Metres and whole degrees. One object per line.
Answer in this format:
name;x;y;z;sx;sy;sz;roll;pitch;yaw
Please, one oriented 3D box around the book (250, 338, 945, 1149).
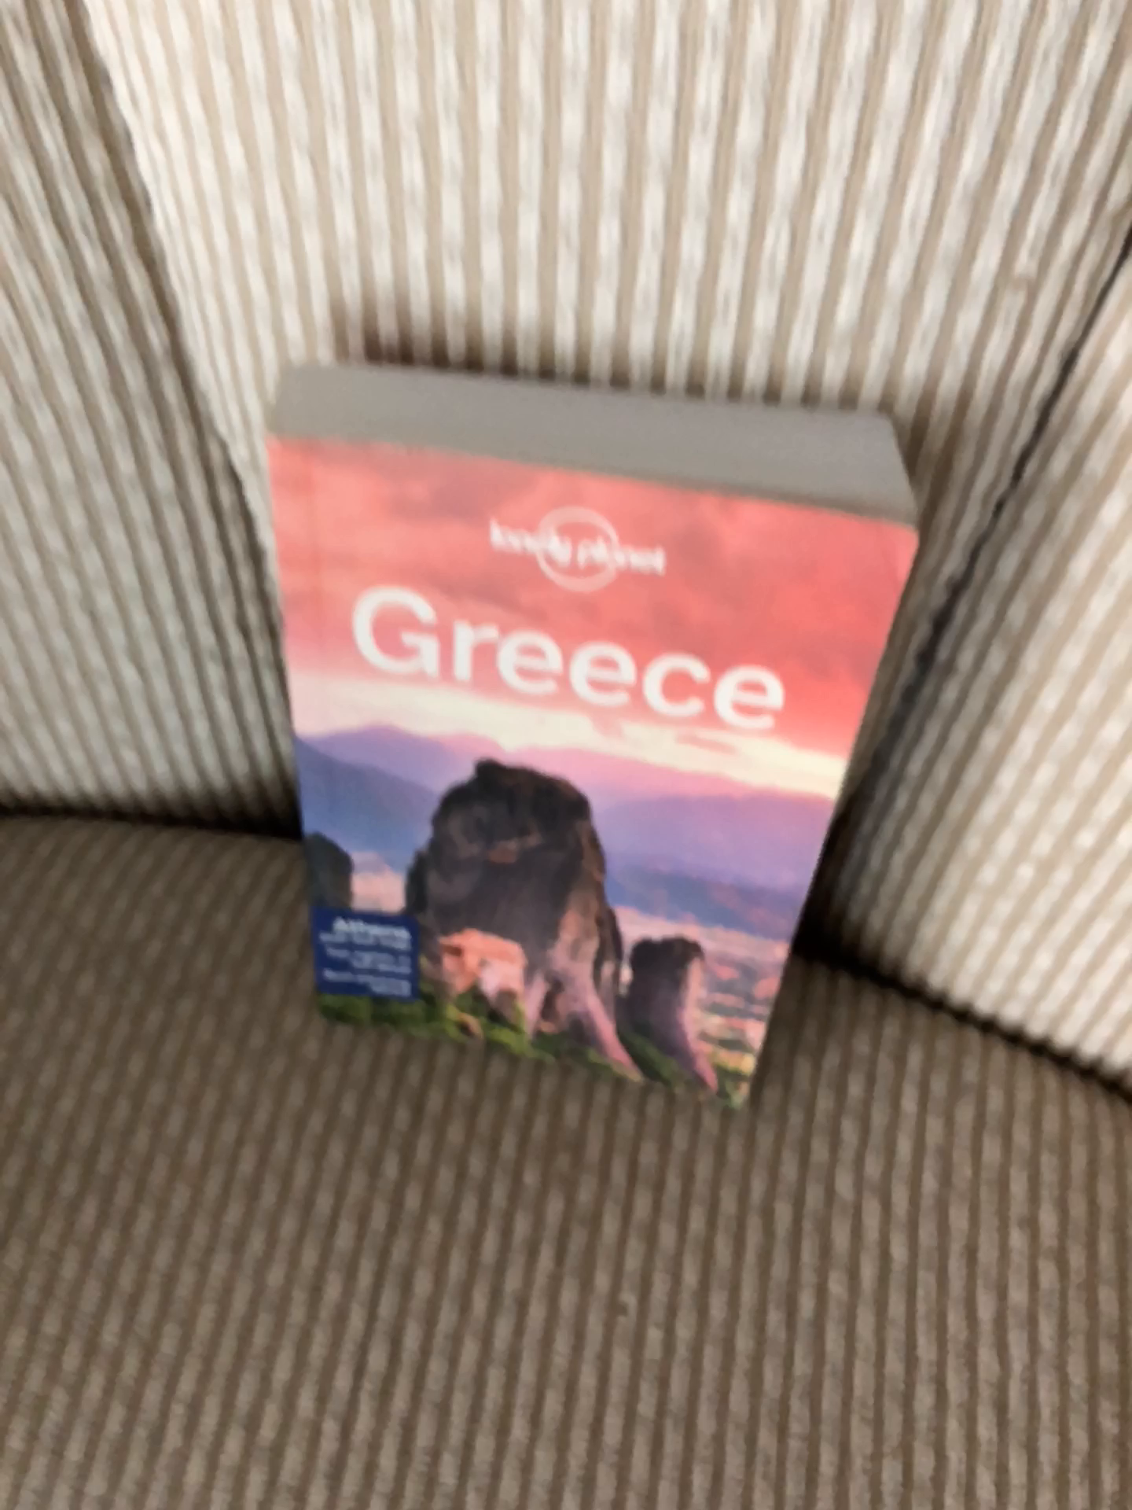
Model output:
book;0.001;0.011;0.320;0.132;0.201;0.041;12;42;7
